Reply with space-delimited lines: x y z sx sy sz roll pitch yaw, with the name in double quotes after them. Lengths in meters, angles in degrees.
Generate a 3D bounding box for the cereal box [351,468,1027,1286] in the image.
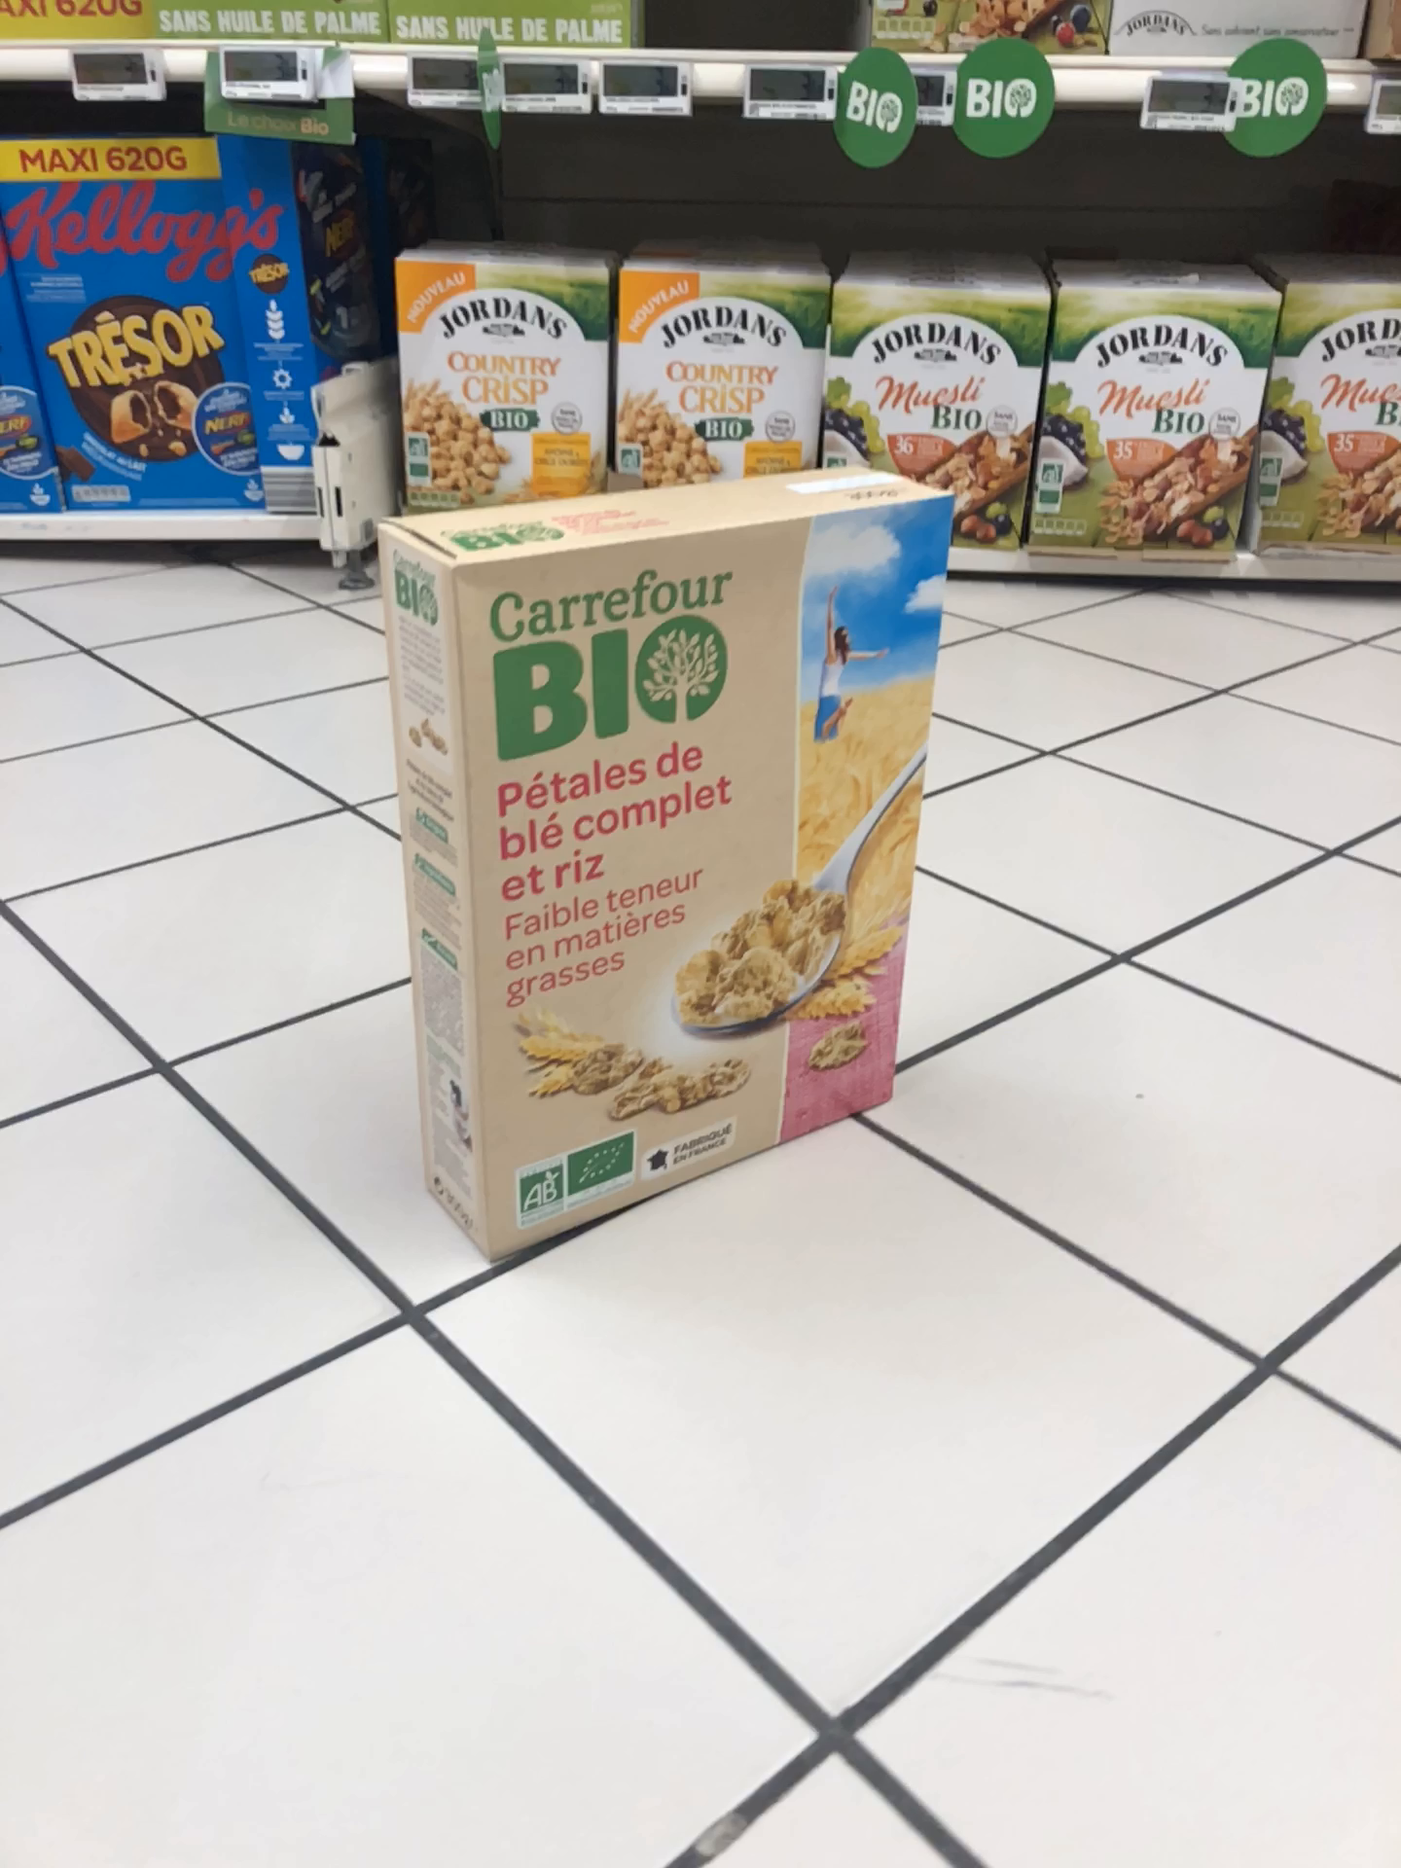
0.000 -0.029 0.551 0.211 0.239 0.080 -16 31 -30 "cereal box"
